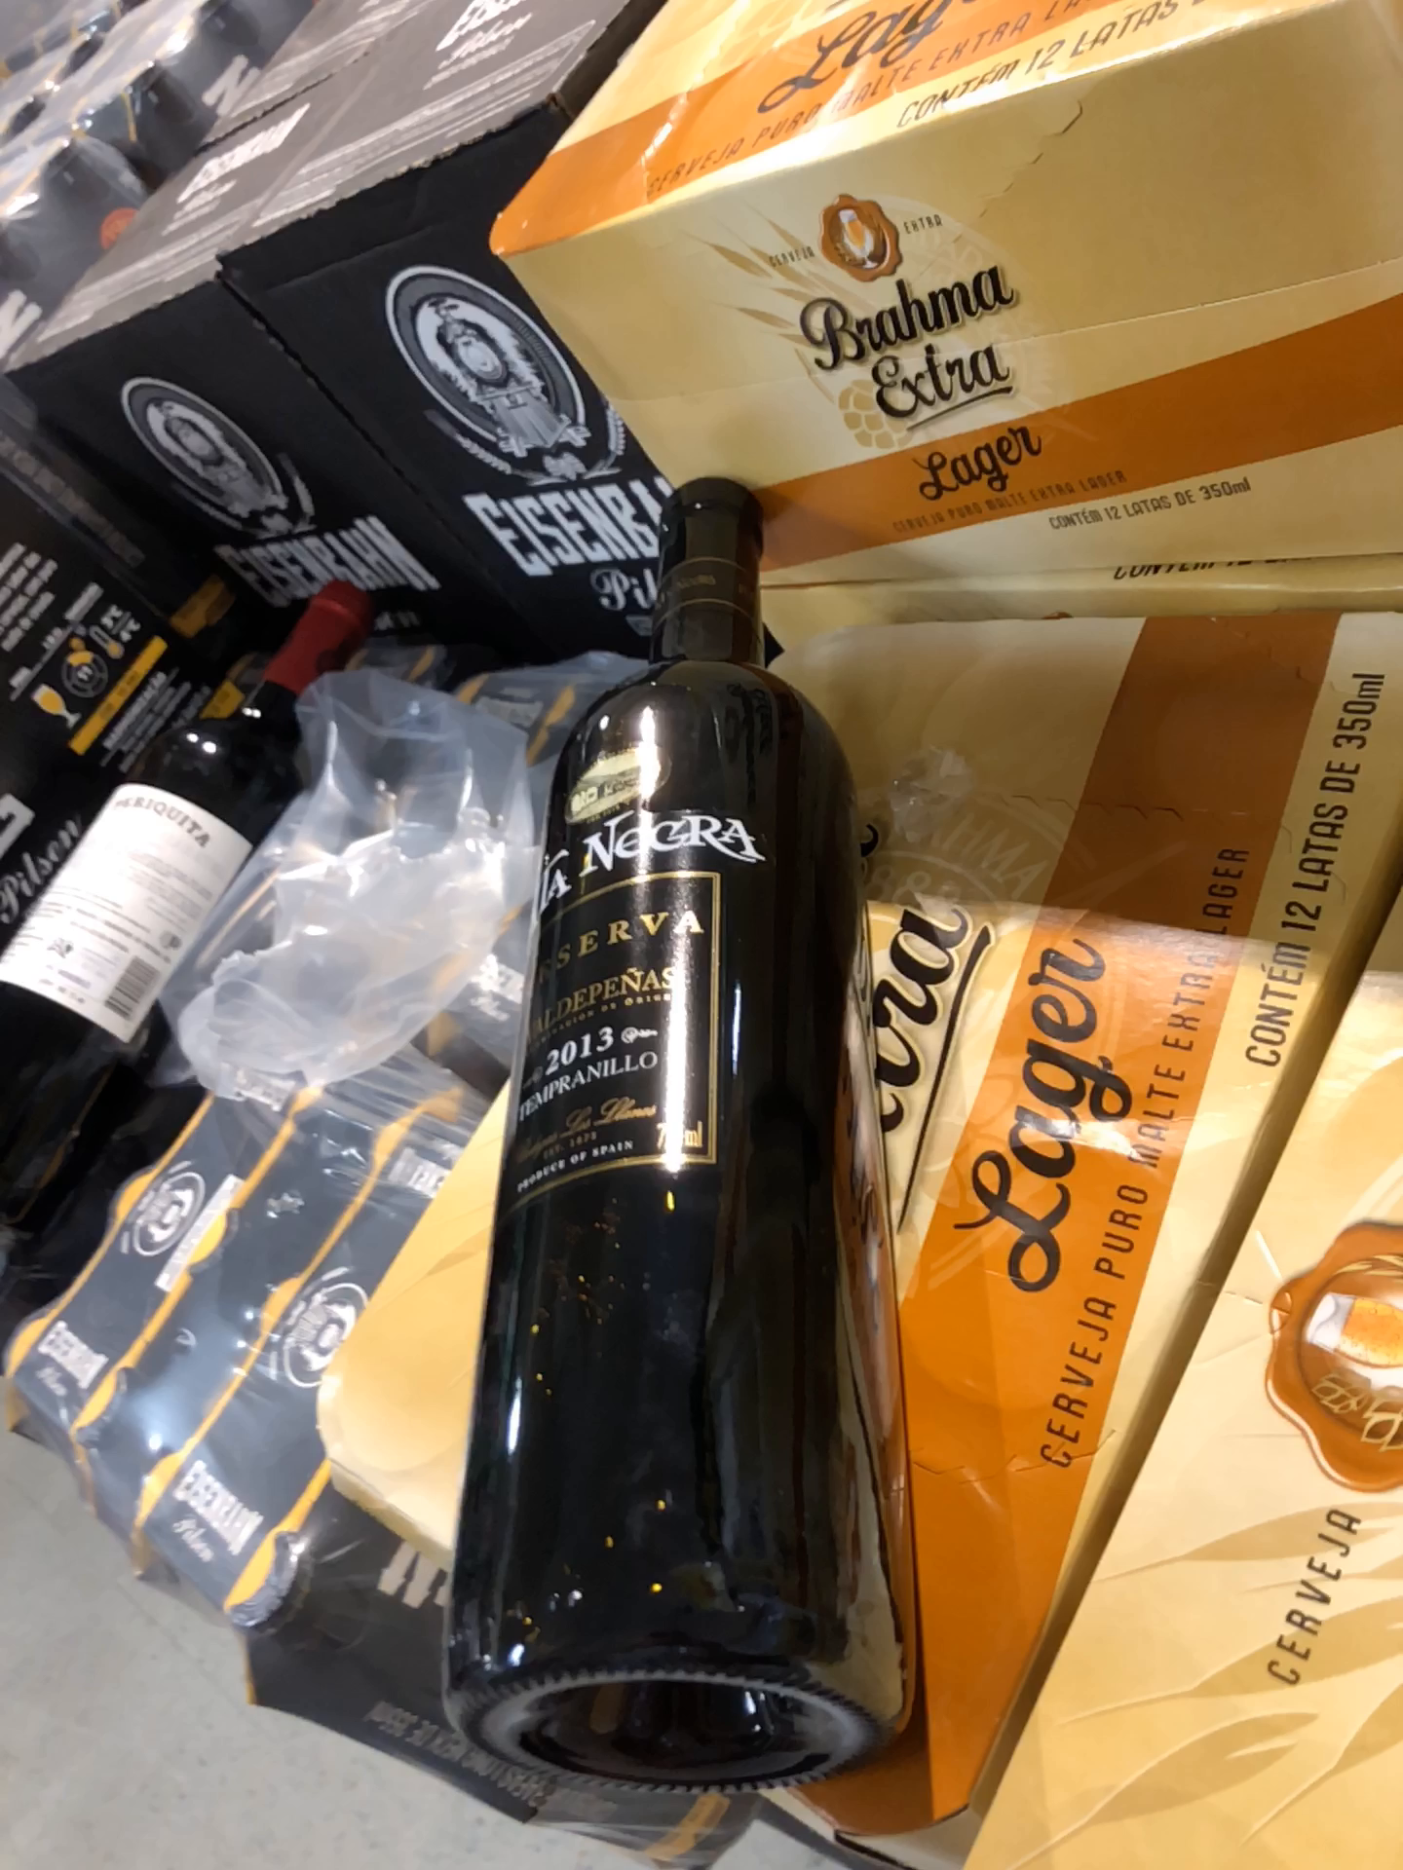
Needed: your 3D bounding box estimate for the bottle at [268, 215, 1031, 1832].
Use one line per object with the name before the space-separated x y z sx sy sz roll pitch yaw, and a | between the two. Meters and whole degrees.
bottle | -0.002 -0.024 0.354 0.080 0.079 0.382 -23 43 25
